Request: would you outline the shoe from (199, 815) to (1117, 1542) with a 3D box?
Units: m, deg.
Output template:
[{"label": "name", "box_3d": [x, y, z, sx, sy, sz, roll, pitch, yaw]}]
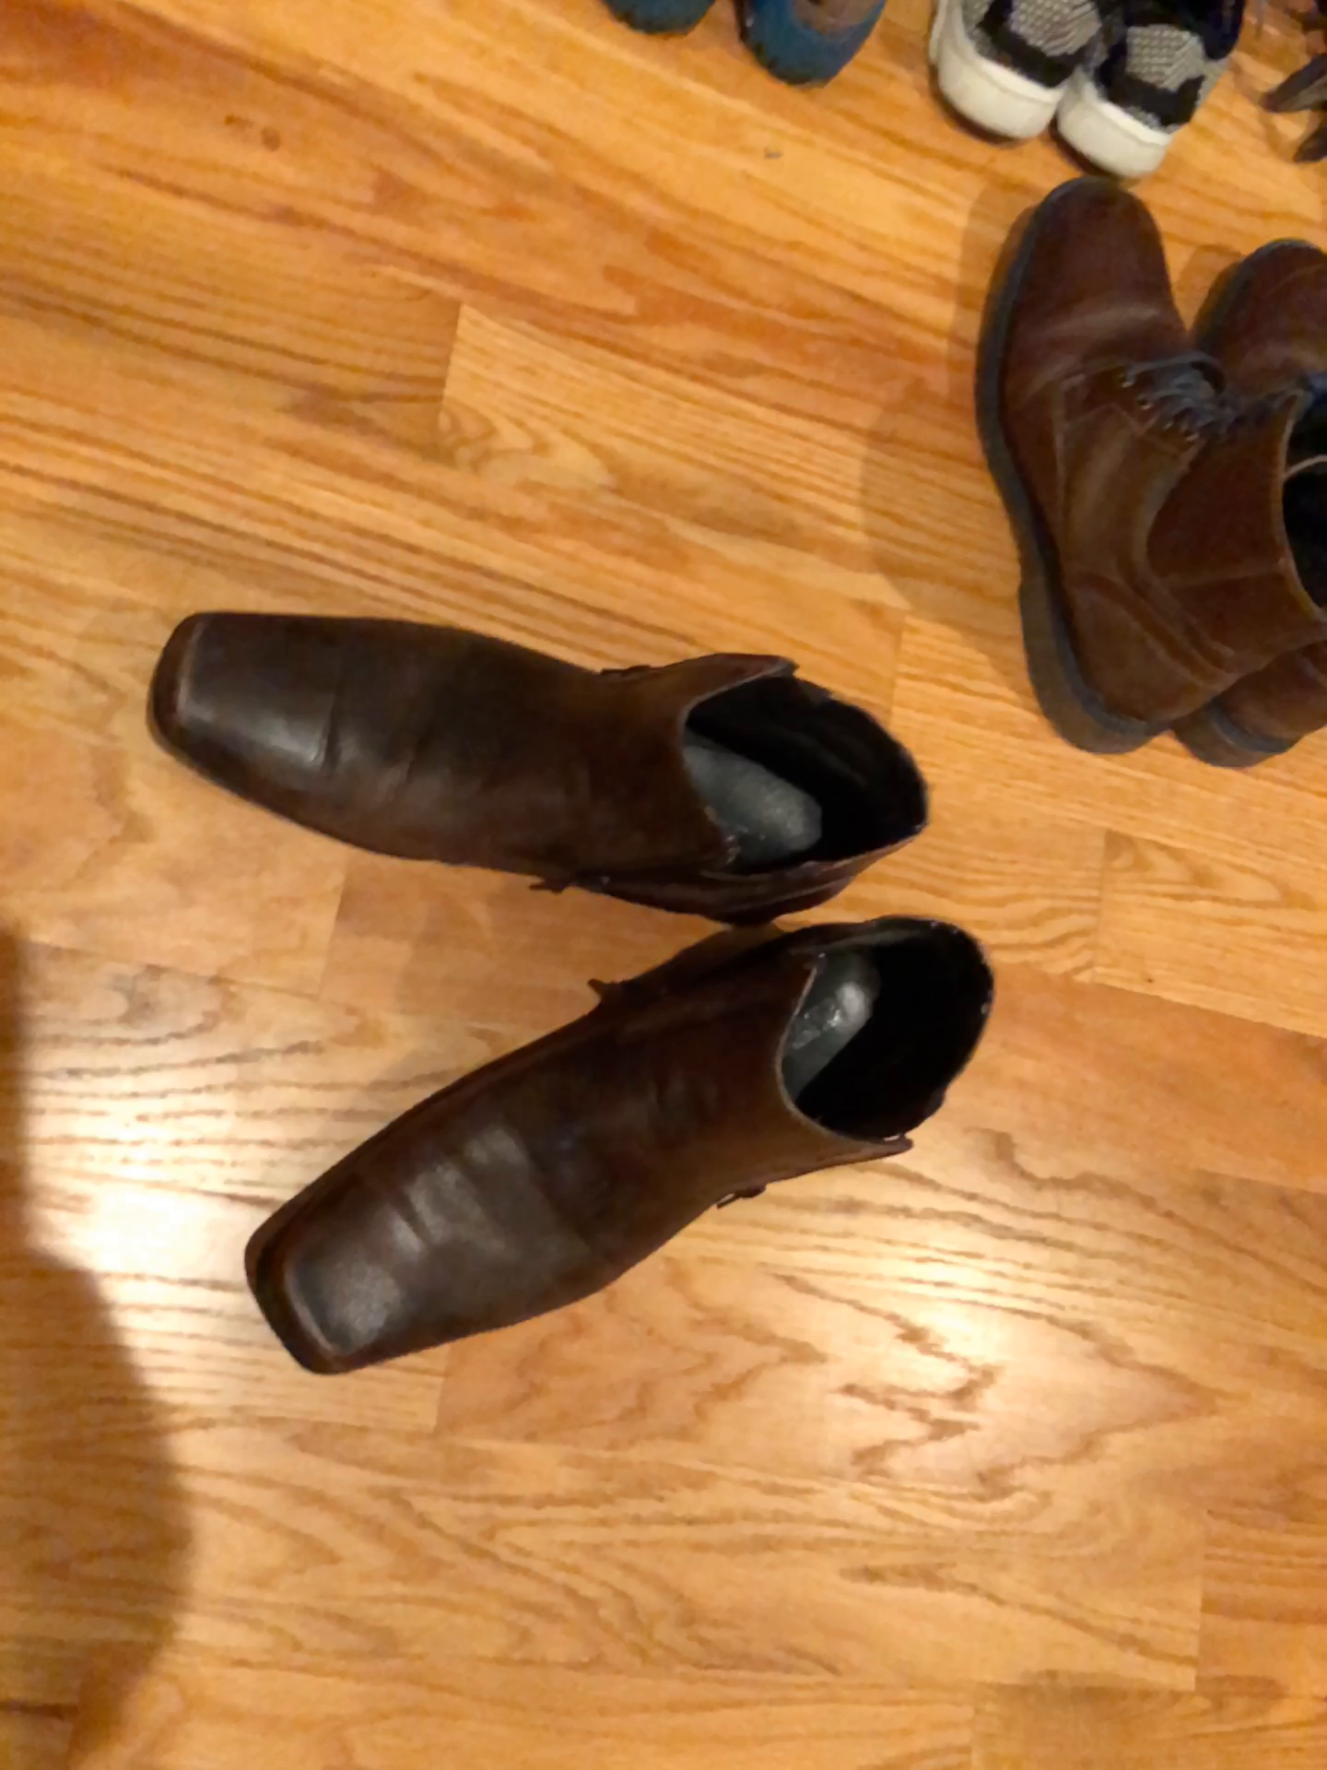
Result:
[{"label": "shoe", "box_3d": [-0.005, 0.095, 0.558, 0.301, 0.153, 0.109, -26, 91, -23]}]

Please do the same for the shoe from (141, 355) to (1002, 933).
[{"label": "shoe", "box_3d": [-0.038, -0.074, 0.568, 0.290, 0.143, 0.109, 14, 77, -19]}]
